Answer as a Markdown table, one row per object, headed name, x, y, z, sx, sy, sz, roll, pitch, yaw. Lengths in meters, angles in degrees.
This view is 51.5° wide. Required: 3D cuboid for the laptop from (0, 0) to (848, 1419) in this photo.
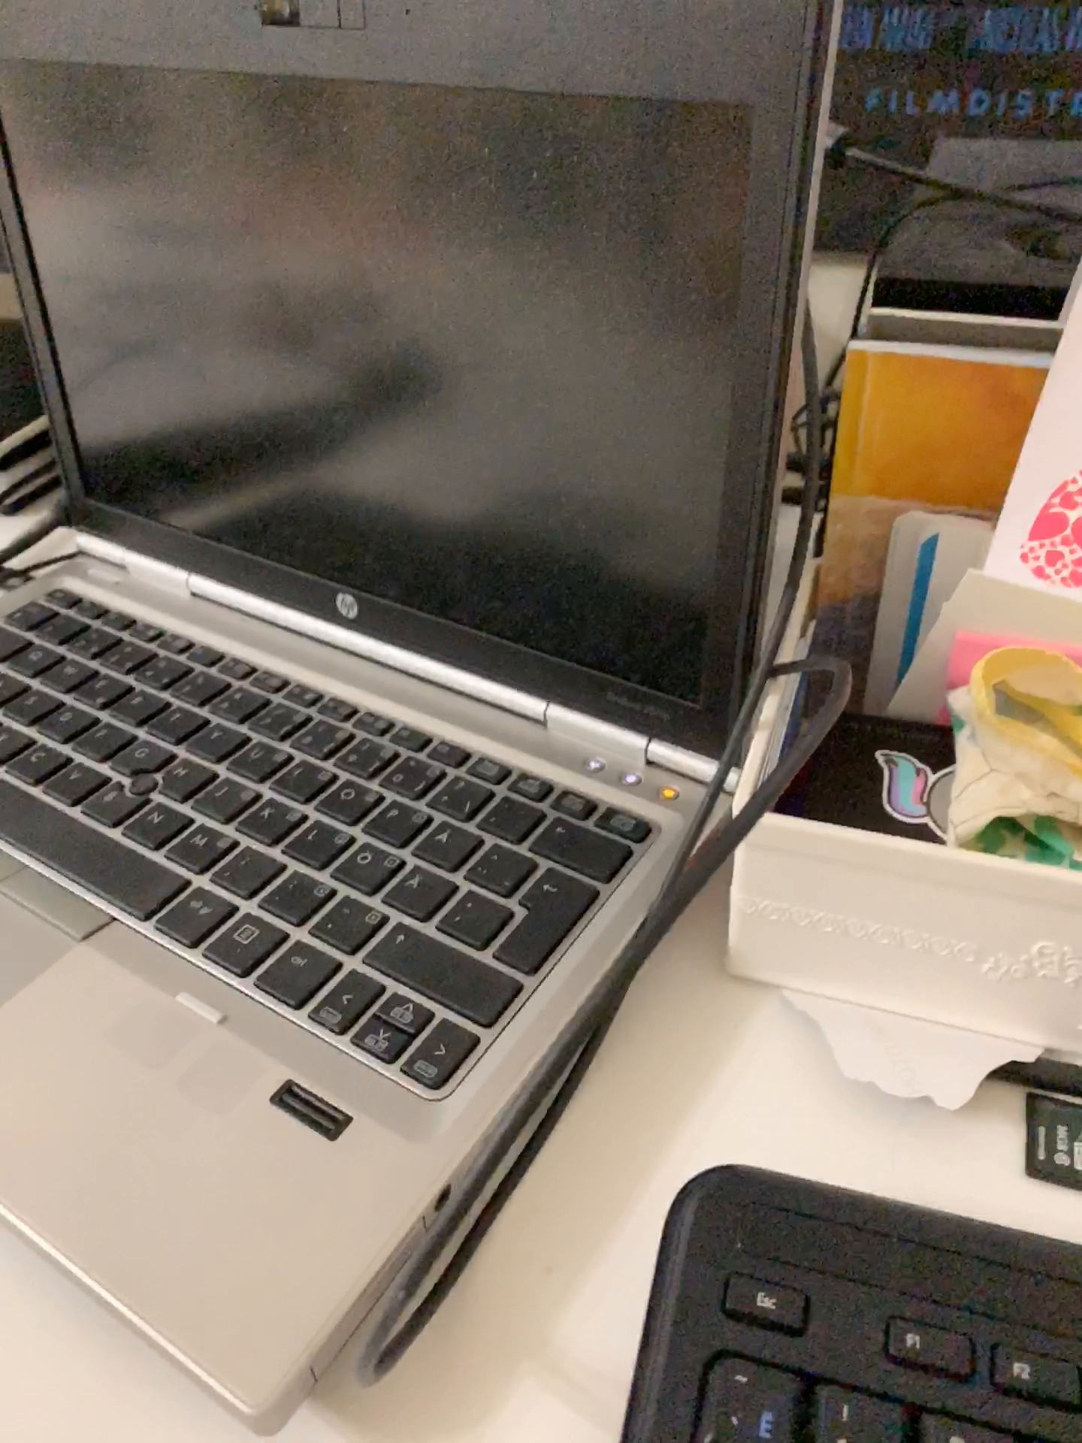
| name | x | y | z | sx | sy | sz | roll | pitch | yaw |
| --- | --- | --- | --- | --- | --- | --- | --- | --- | --- |
| laptop | -0.120 | -0.062 | 0.292 | 0.303 | 0.204 | 0.225 | 20 | 43 | 28 |
